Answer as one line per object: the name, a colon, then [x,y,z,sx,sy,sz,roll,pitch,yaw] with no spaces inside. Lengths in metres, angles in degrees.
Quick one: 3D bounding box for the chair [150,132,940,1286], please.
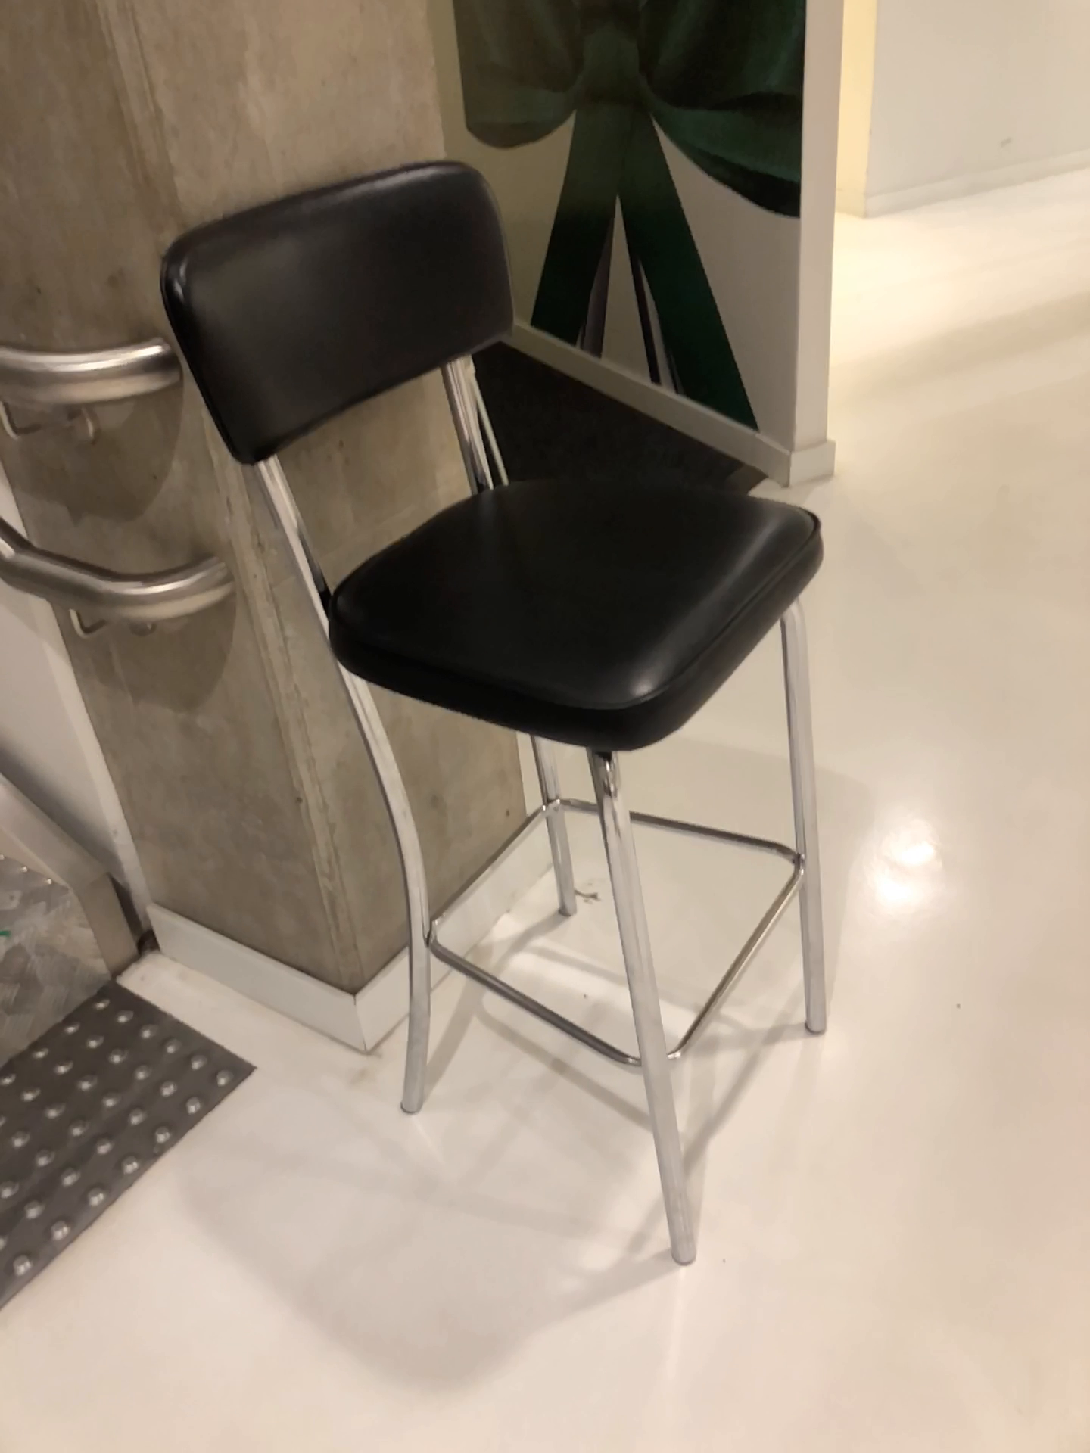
chair: [0.056,-0.014,1.198,0.441,0.982,0.453,16,39,30]
